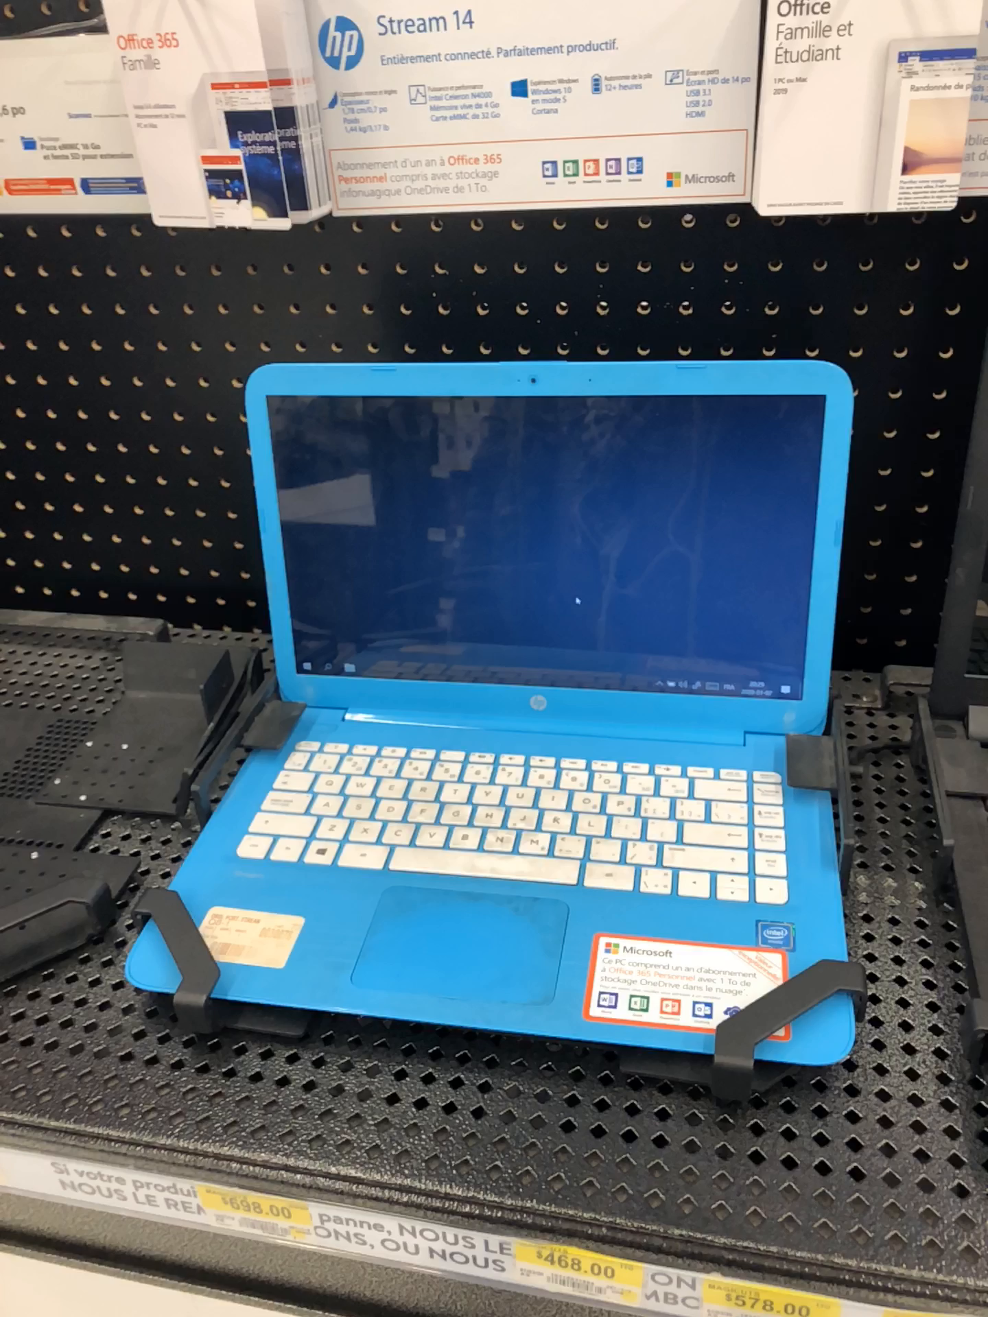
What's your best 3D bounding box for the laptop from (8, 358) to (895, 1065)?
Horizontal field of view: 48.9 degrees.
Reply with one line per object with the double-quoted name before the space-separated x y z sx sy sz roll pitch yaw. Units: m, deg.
"laptop" 0.002 -0.002 0.537 0.319 0.197 0.270 3 34 12
